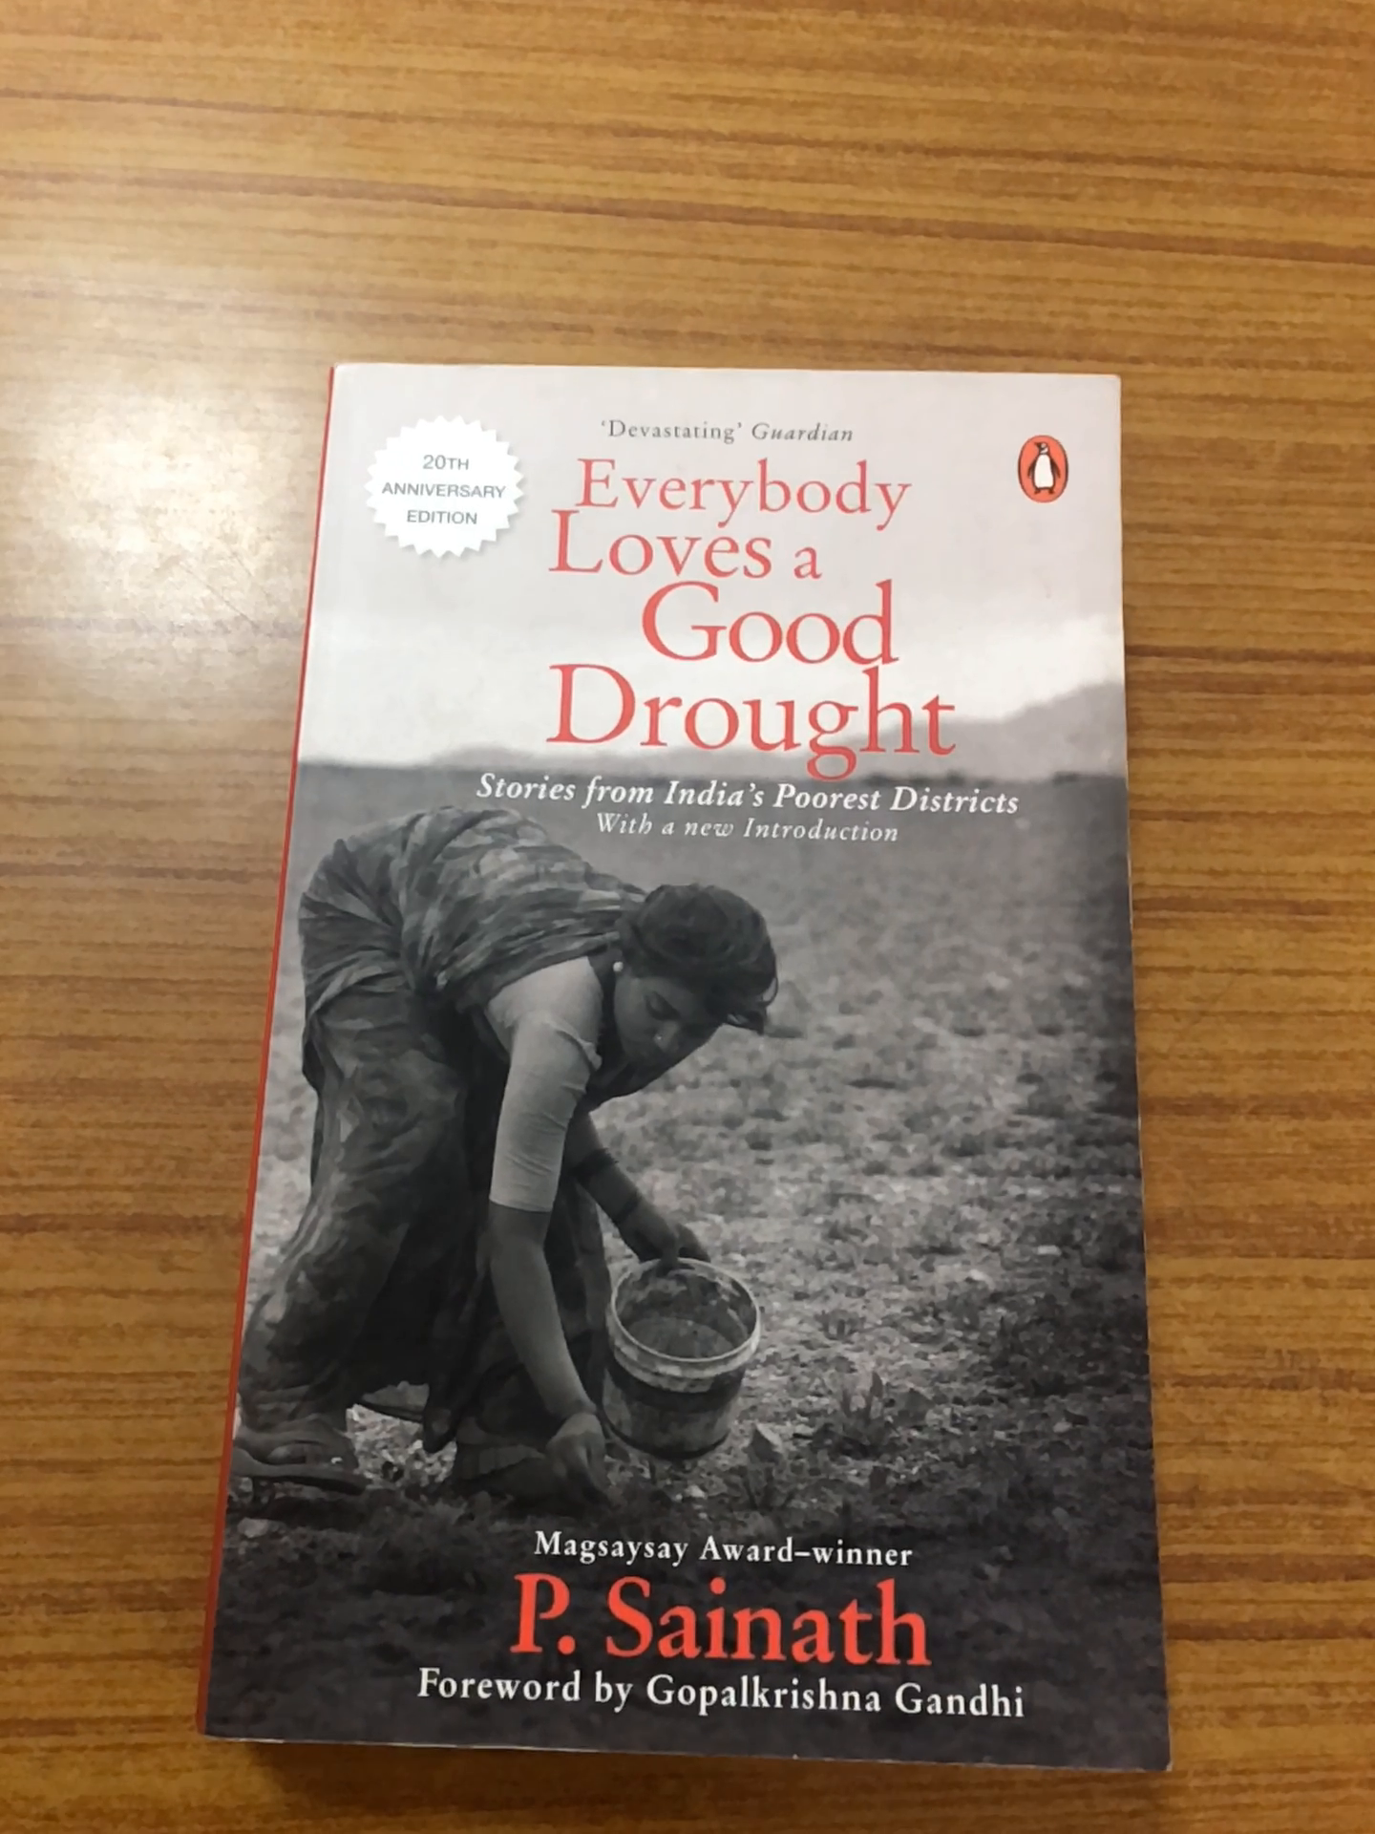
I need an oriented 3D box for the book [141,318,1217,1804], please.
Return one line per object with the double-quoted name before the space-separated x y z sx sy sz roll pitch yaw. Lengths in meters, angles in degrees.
"book" 0.003 0.016 0.242 0.140 0.040 0.210 3 77 -3
